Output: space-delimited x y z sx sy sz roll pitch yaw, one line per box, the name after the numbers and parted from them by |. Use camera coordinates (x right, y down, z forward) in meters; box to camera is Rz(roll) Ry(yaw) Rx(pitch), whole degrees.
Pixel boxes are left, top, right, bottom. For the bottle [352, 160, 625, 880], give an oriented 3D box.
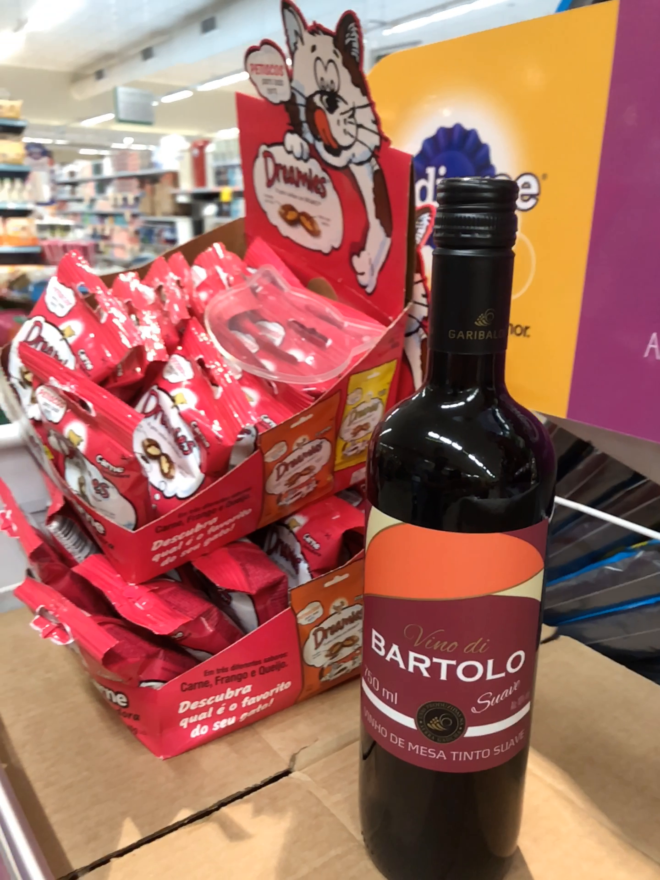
0.058 0.047 0.300 0.080 0.298 0.060 5 17 16 | bottle
